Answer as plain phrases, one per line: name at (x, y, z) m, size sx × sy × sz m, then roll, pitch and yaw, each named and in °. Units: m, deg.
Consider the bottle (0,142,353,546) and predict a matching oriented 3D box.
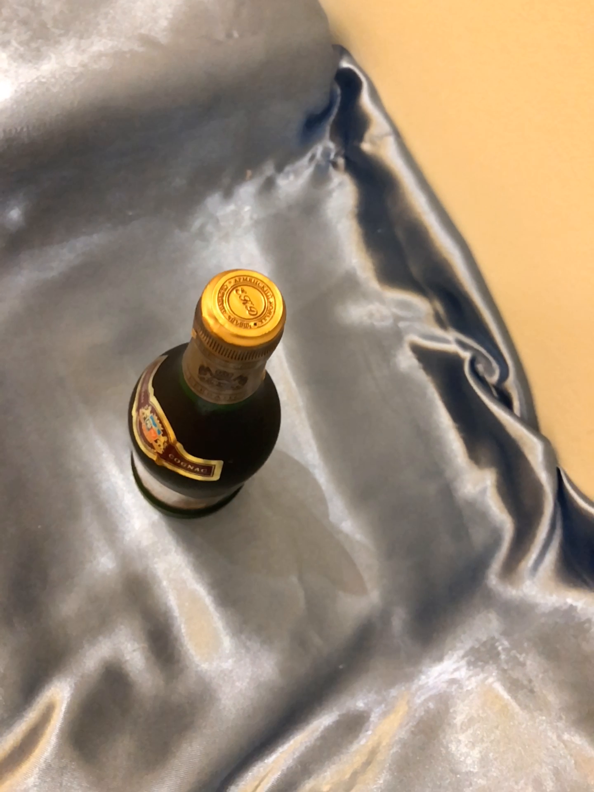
bottle at (-0.052, 0.006, 0.310) m, size 0.074 × 0.248 × 0.080 m, roll 2°, pitch 72°, yaw -8°
